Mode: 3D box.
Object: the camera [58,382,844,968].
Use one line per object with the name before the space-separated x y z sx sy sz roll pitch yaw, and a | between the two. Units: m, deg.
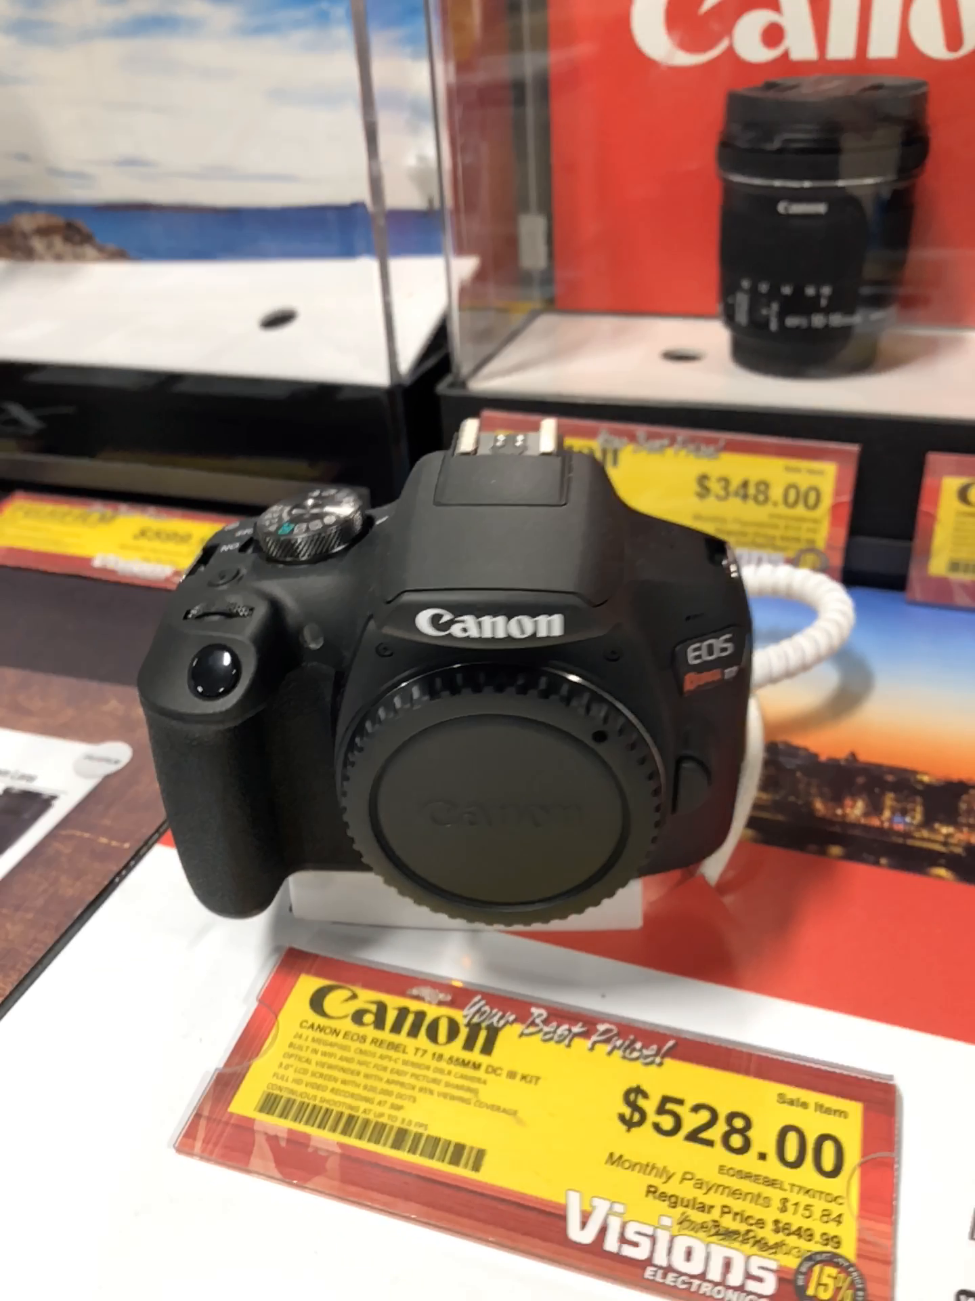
camera | -0.002 0.001 0.240 0.130 0.089 0.091 0 32 7
